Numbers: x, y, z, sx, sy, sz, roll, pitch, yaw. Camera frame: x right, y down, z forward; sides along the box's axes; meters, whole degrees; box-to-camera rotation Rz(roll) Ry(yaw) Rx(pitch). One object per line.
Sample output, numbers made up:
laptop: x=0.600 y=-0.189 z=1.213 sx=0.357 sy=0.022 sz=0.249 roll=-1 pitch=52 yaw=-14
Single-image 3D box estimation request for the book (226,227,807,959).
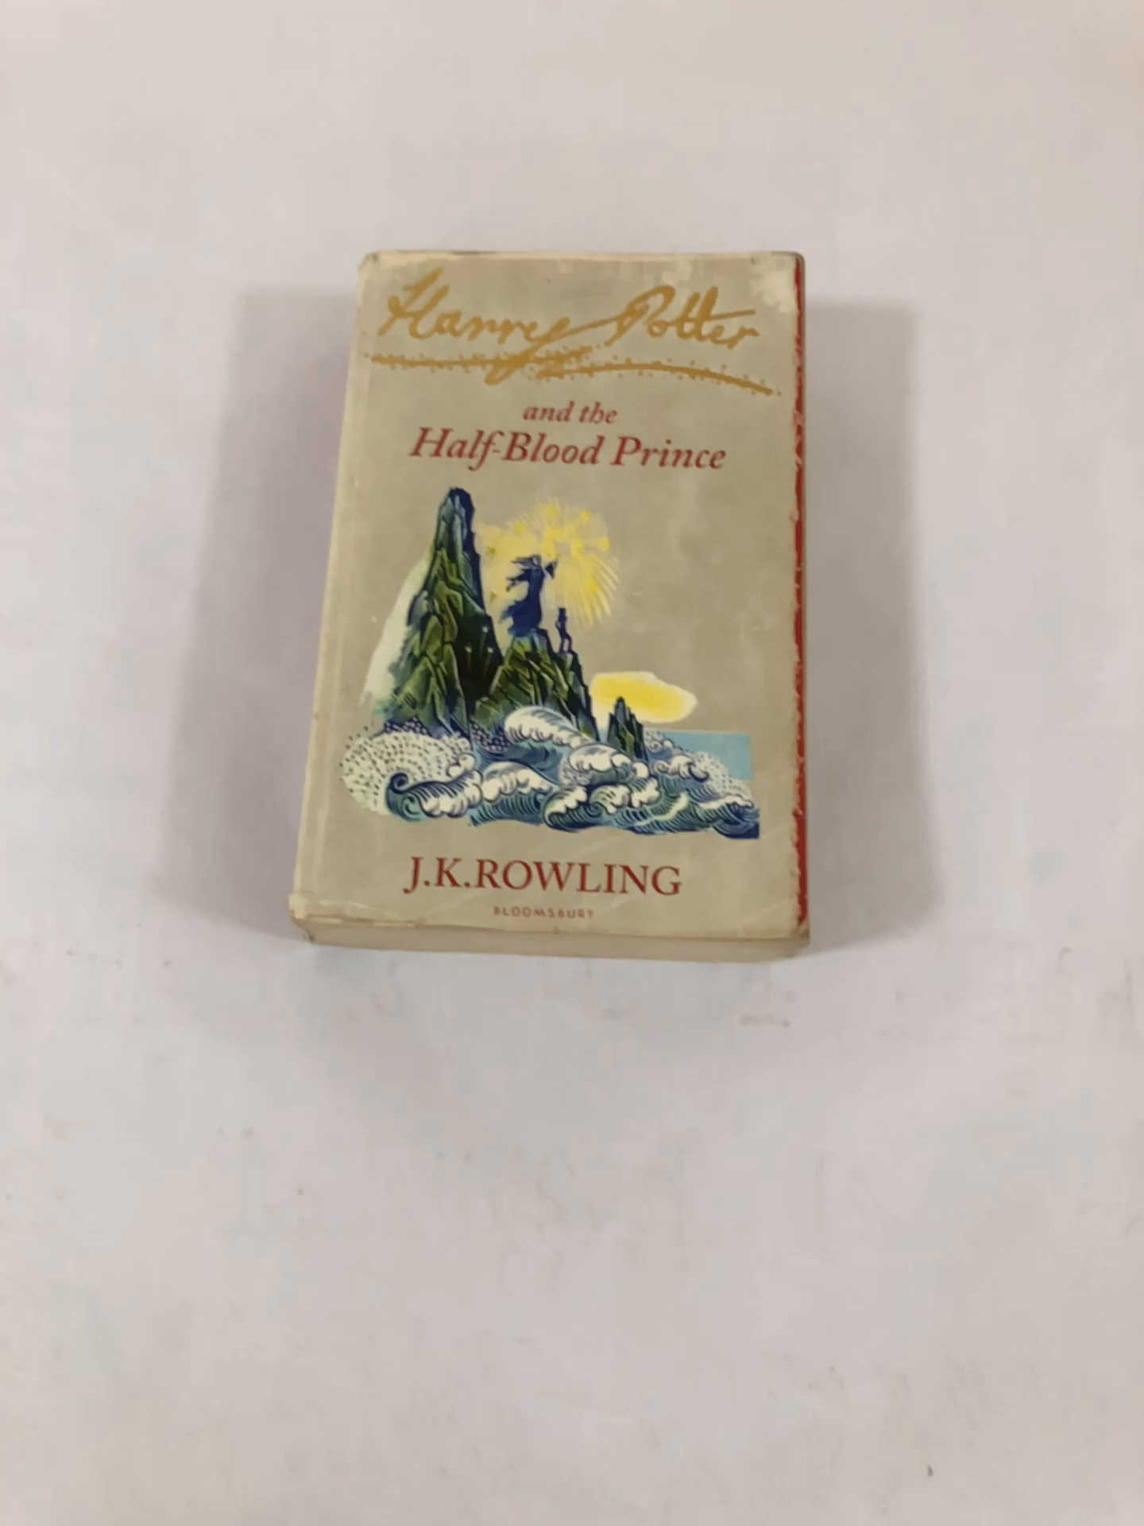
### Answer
book: x=-0.010 y=-0.045 z=0.334 sx=0.129 sy=0.050 sz=0.181 roll=1 pitch=74 yaw=1
